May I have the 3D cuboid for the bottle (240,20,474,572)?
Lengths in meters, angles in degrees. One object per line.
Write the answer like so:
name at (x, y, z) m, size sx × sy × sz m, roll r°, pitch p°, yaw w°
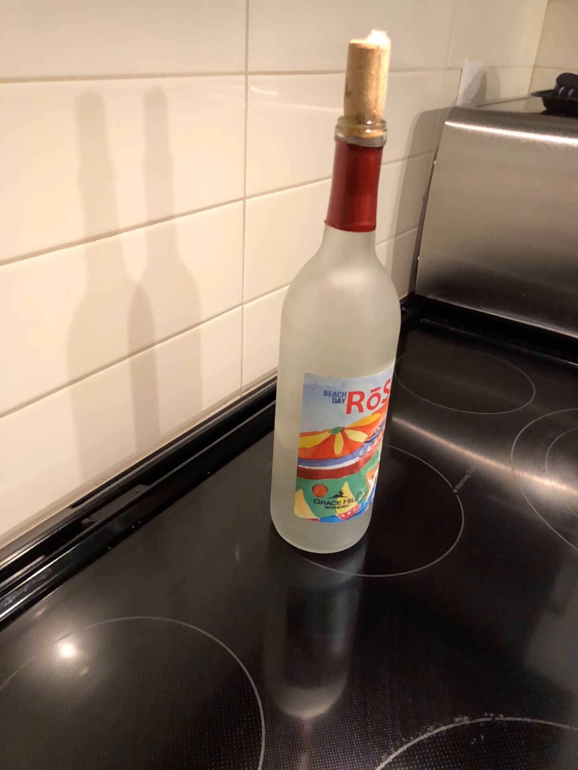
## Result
bottle at (0.029, -0.042, 0.399) m, size 0.080 × 0.318 × 0.080 m, roll 3°, pitch 29°, yaw -2°
